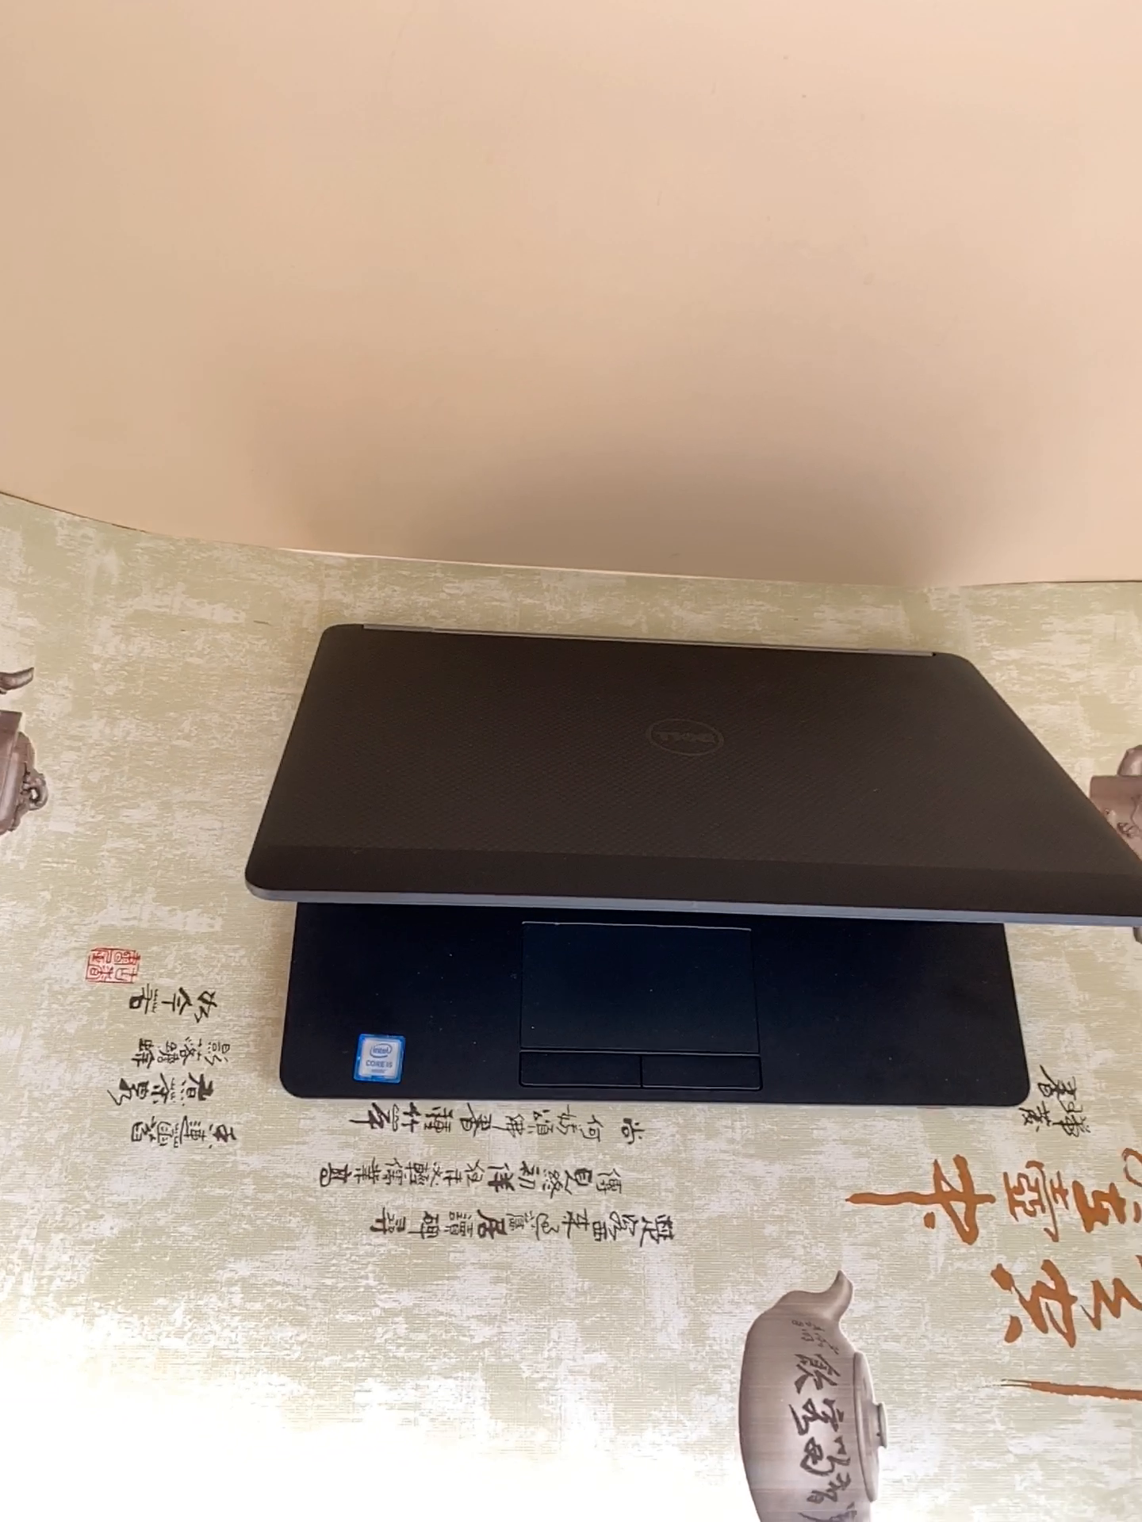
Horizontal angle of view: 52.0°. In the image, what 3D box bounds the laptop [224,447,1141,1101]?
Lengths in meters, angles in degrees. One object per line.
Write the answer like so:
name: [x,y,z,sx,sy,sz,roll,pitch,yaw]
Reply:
laptop: [0.045,0.013,0.463,0.308,0.136,0.212,2,64,-5]
